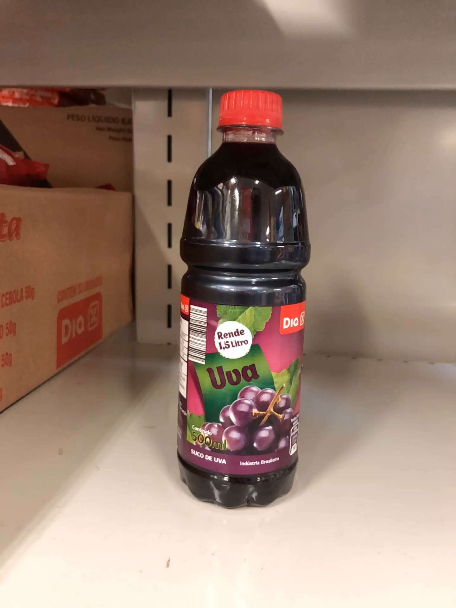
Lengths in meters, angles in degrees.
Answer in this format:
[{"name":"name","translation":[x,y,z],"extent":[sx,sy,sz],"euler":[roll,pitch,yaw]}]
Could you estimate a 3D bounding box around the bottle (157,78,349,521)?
[{"name":"bottle","translation":[0.005,-0.001,0.263],"extent":[0.080,0.199,0.070],"euler":[0,12,-7]}]
